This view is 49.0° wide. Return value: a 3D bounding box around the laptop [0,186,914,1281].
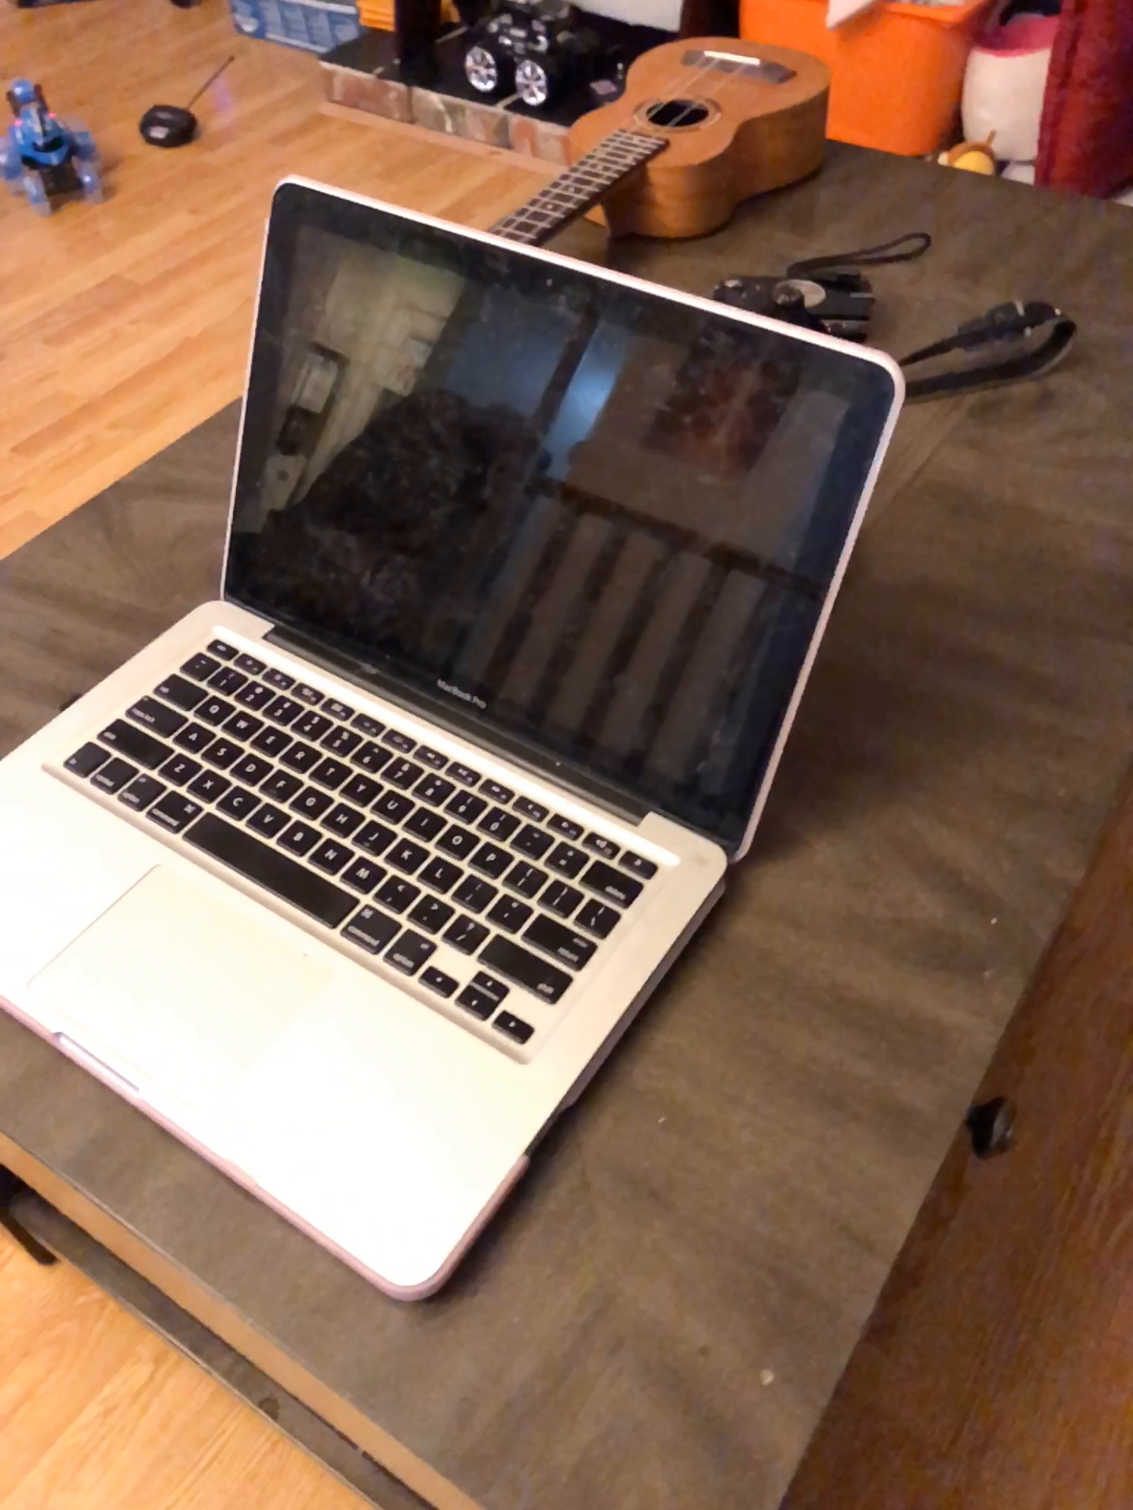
[{"bbox_3d":[-0.088,-0.044,0.506,0.312,0.185,0.322,26,54,23],"label":"laptop"}]
